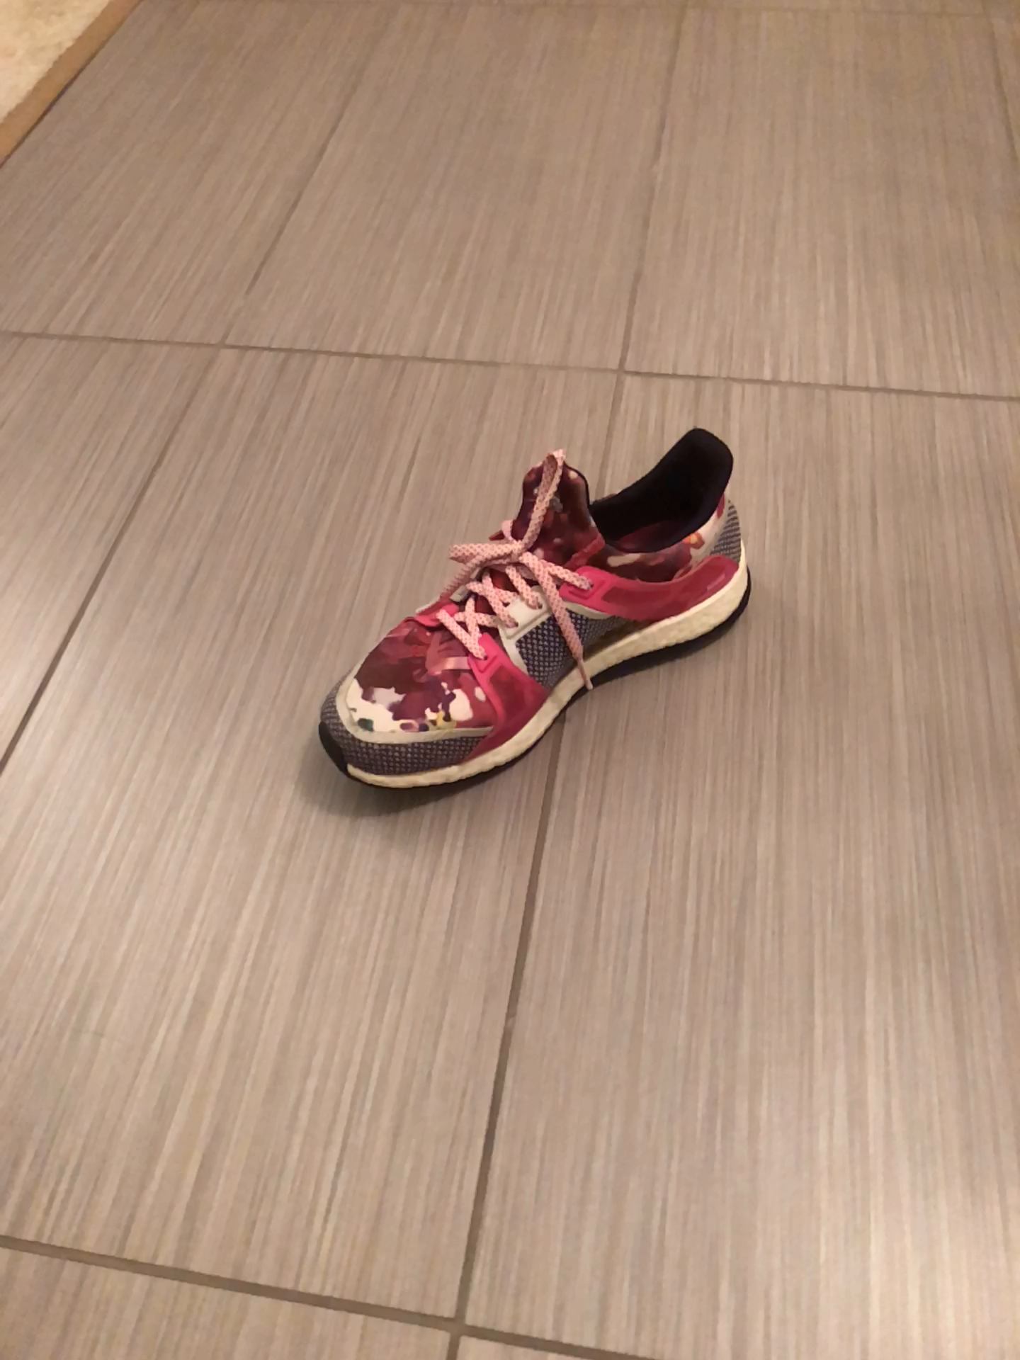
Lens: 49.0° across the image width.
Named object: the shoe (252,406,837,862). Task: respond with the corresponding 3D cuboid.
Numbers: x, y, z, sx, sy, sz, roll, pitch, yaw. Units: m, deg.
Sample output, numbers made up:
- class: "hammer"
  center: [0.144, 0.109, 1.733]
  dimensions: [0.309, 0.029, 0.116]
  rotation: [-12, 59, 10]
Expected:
- class: "shoe"
  center: [0.022, -0.032, 0.601]
  dimensions: [0.280, 0.090, 0.110]
  rotation: [-26, 55, -17]
